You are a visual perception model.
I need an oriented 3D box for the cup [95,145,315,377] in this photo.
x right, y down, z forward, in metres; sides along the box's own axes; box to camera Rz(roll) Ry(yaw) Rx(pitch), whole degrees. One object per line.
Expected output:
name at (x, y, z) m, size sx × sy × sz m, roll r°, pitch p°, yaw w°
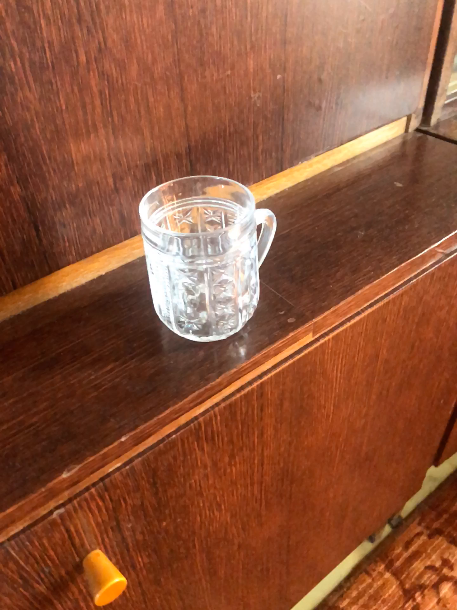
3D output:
cup at (-0.009, -0.030, 0.300) m, size 0.070 × 0.080 × 0.100 m, roll 27°, pitch 49°, yaw 30°
